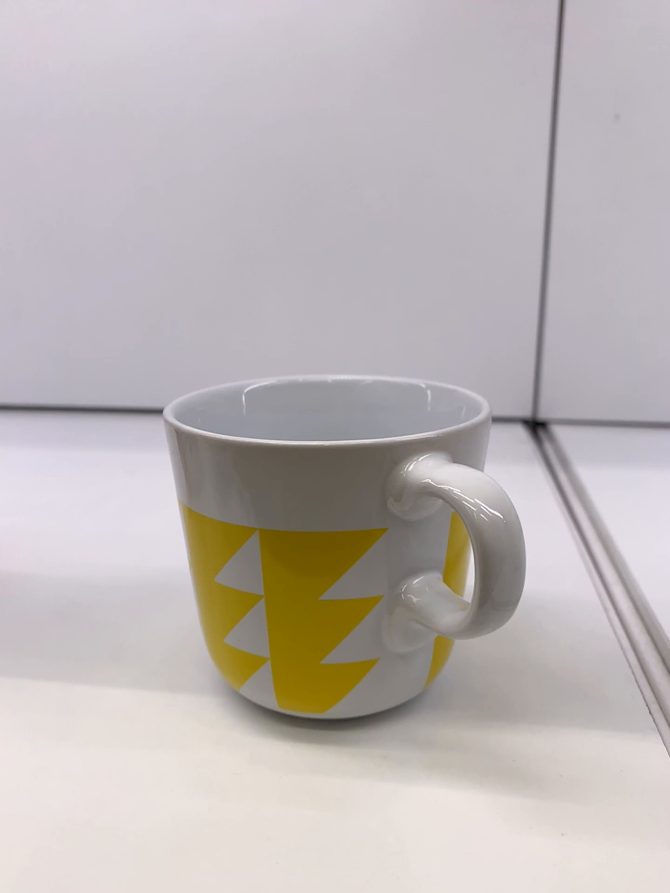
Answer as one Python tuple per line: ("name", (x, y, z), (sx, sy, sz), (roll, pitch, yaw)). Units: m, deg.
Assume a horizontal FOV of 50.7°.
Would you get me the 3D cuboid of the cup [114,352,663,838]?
("cup", (0.004, 0.017, 0.177), (0.084, 0.065, 0.107), (-9, 17, -31))
